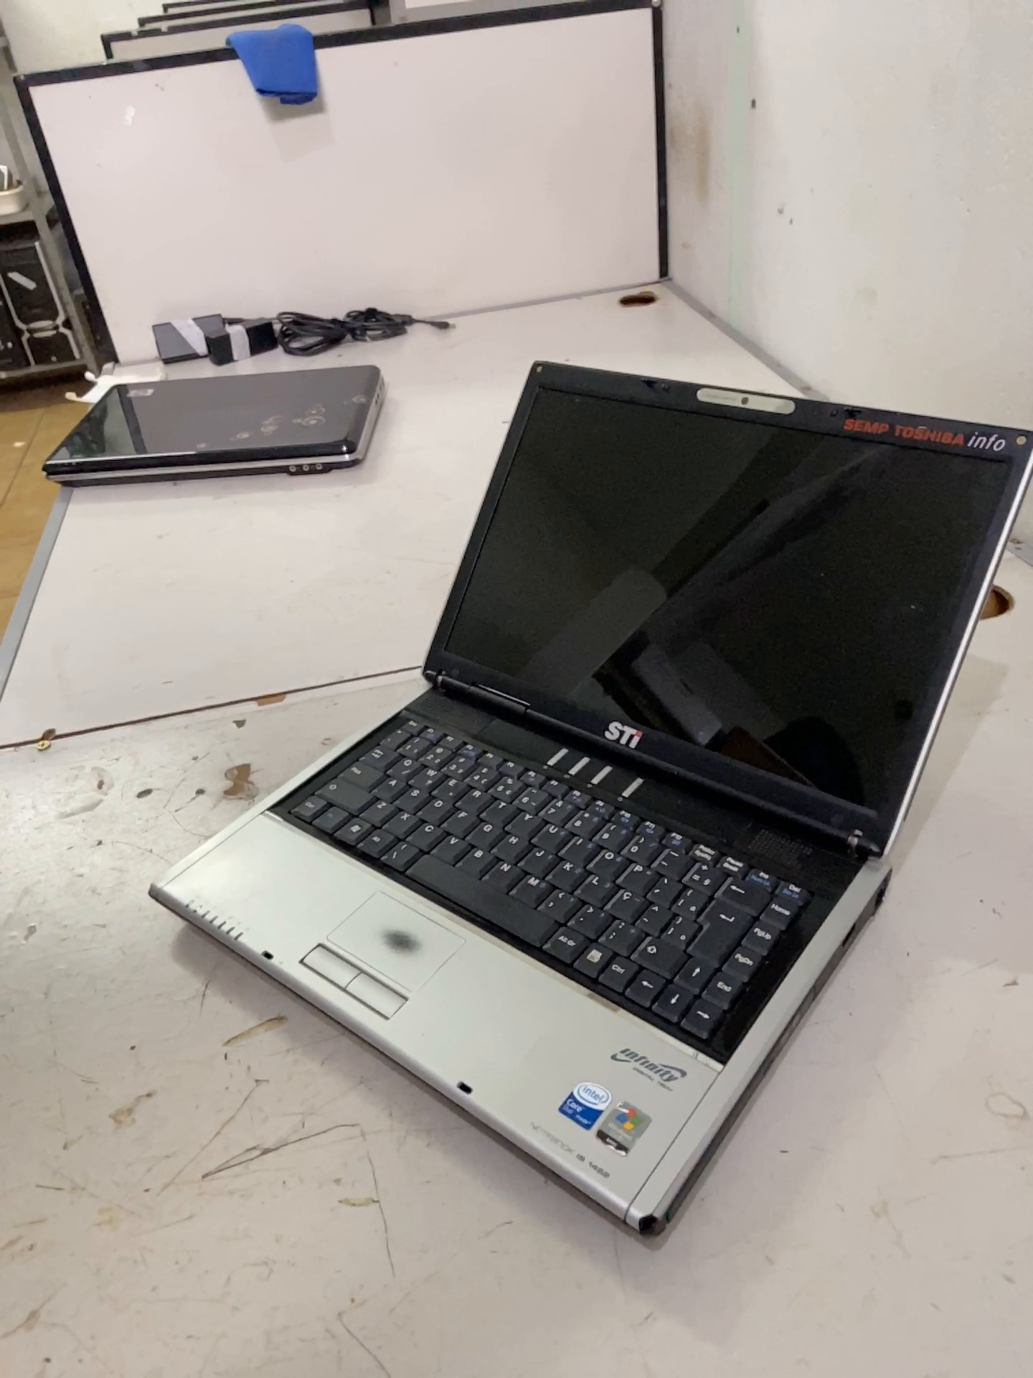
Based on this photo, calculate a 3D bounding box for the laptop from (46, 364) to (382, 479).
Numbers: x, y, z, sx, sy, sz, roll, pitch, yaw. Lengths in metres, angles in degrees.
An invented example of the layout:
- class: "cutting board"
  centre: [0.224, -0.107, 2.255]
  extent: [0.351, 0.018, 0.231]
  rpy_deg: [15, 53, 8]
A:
- class: "laptop"
  centre: [-0.332, -0.303, 1.188]
  extent: [0.337, 0.018, 0.200]
  rpy_deg: [-2, 40, 9]

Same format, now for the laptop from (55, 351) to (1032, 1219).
- class: "laptop"
  centre: [0.034, -0.015, 0.567]
  extent: [0.325, 0.167, 0.387]
  rpy_deg: [20, 45, 34]
